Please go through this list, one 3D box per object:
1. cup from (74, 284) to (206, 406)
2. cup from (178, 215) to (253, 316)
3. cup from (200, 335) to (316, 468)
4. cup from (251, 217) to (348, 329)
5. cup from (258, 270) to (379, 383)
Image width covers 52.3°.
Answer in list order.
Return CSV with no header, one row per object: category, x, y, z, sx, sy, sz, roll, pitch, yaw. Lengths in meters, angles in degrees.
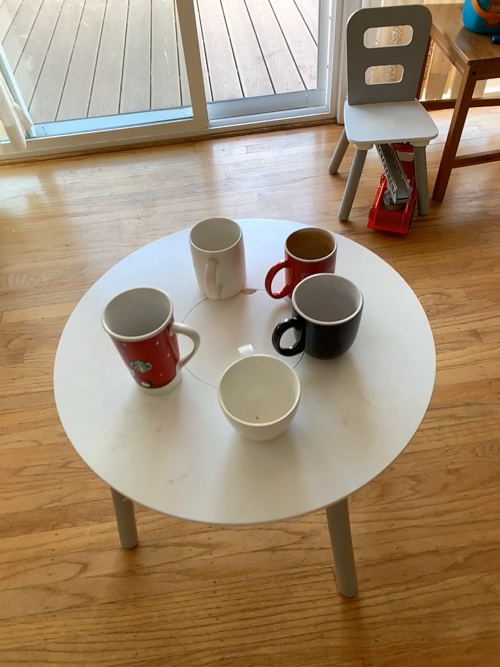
cup,-0.137,0.016,0.680,0.130,0.130,0.100,2,51,5
cup,-0.047,-0.103,0.772,0.100,0.090,0.120,-2,50,3
cup,0.008,0.082,0.637,0.110,0.060,0.131,-13,51,-7
cup,0.075,-0.093,0.777,0.120,0.100,0.080,-38,58,-24
cup,0.088,-0.010,0.693,0.130,0.080,0.100,-14,51,-7
